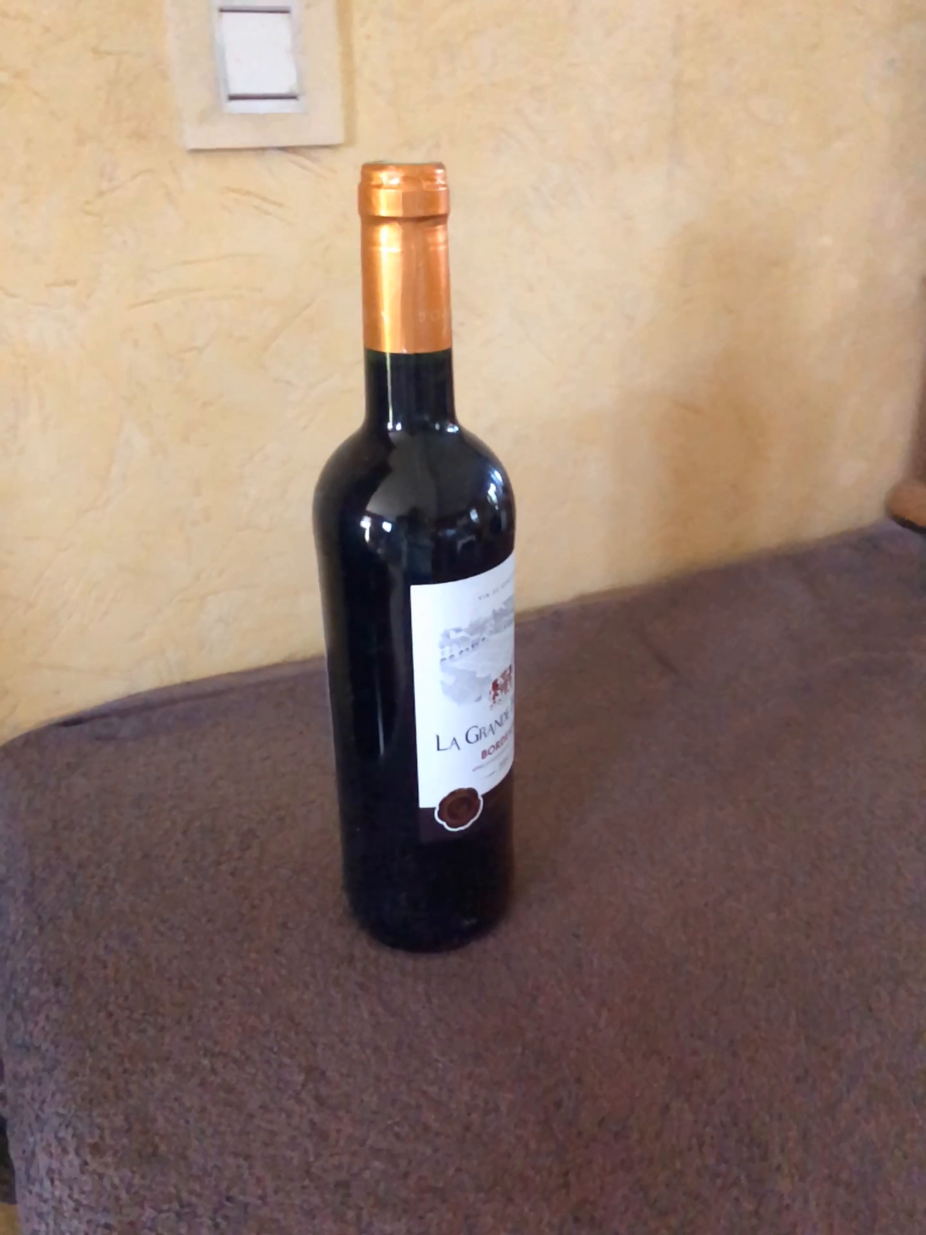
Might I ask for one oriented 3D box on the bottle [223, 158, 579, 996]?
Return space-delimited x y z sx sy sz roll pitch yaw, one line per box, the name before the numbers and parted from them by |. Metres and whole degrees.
bottle | -0.015 -0.008 0.388 0.080 0.298 0.080 -1 27 0
